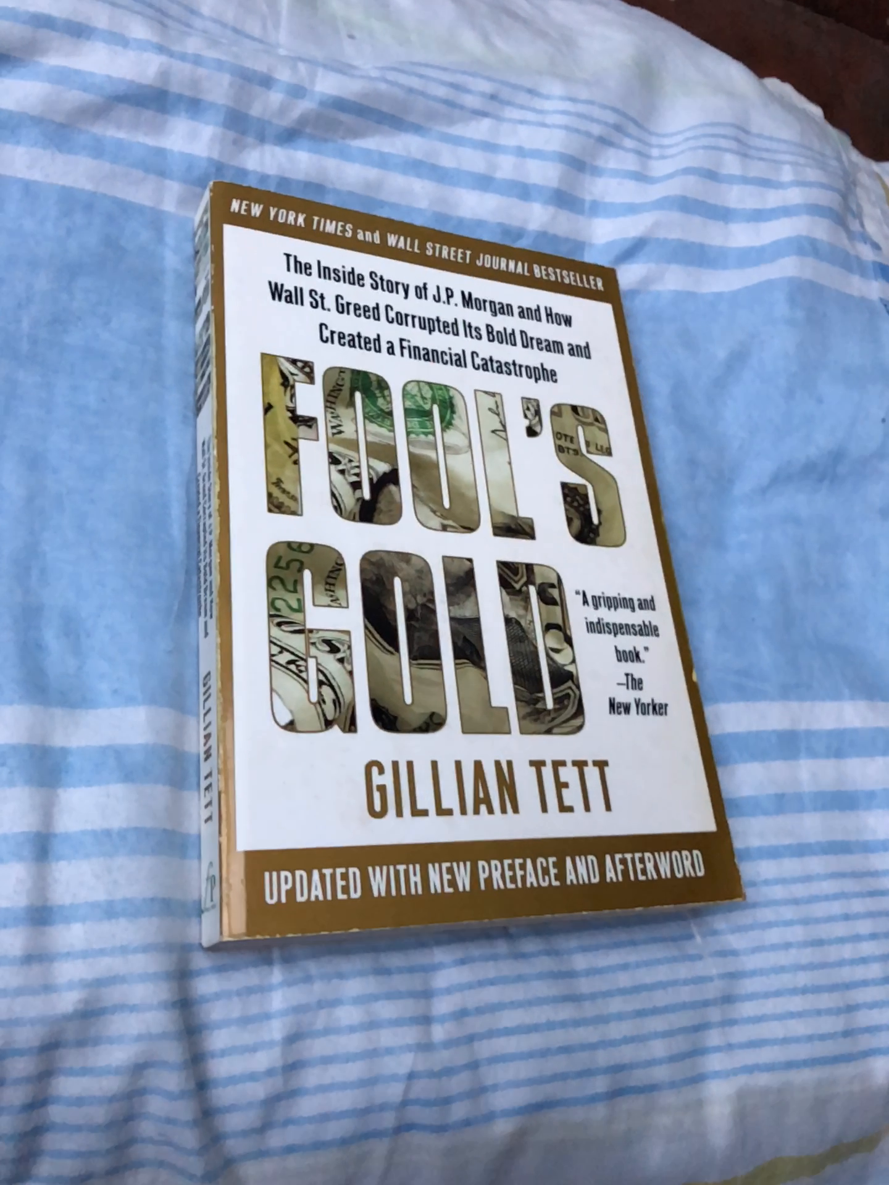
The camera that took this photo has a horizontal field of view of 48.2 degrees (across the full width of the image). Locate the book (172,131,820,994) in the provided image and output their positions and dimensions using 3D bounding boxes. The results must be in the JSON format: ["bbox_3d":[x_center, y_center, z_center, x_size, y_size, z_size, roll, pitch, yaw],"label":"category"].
[{"bbox_3d":[0.008,-0.014,0.284,0.150,0.040,0.230,6,63,-22],"label":"book"}]
